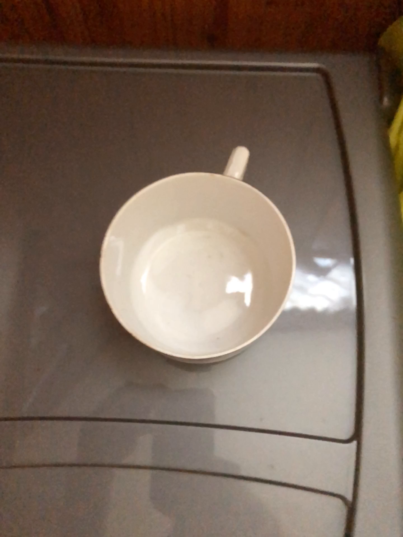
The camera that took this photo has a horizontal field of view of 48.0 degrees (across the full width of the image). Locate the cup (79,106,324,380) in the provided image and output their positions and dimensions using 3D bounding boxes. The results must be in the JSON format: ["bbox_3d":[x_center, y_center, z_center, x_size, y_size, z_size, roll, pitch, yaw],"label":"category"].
[{"bbox_3d":[0.003,-0.012,0.268,0.100,0.060,0.130,14,75,3],"label":"cup"}]
